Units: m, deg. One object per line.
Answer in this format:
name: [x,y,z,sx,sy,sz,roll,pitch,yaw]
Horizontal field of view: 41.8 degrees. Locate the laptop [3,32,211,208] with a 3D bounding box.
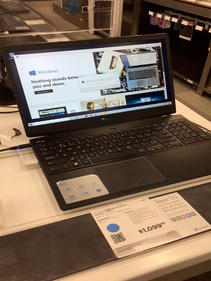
laptop: [0.046,-0.081,0.608,0.415,0.198,0.361,-13,40,-16]
